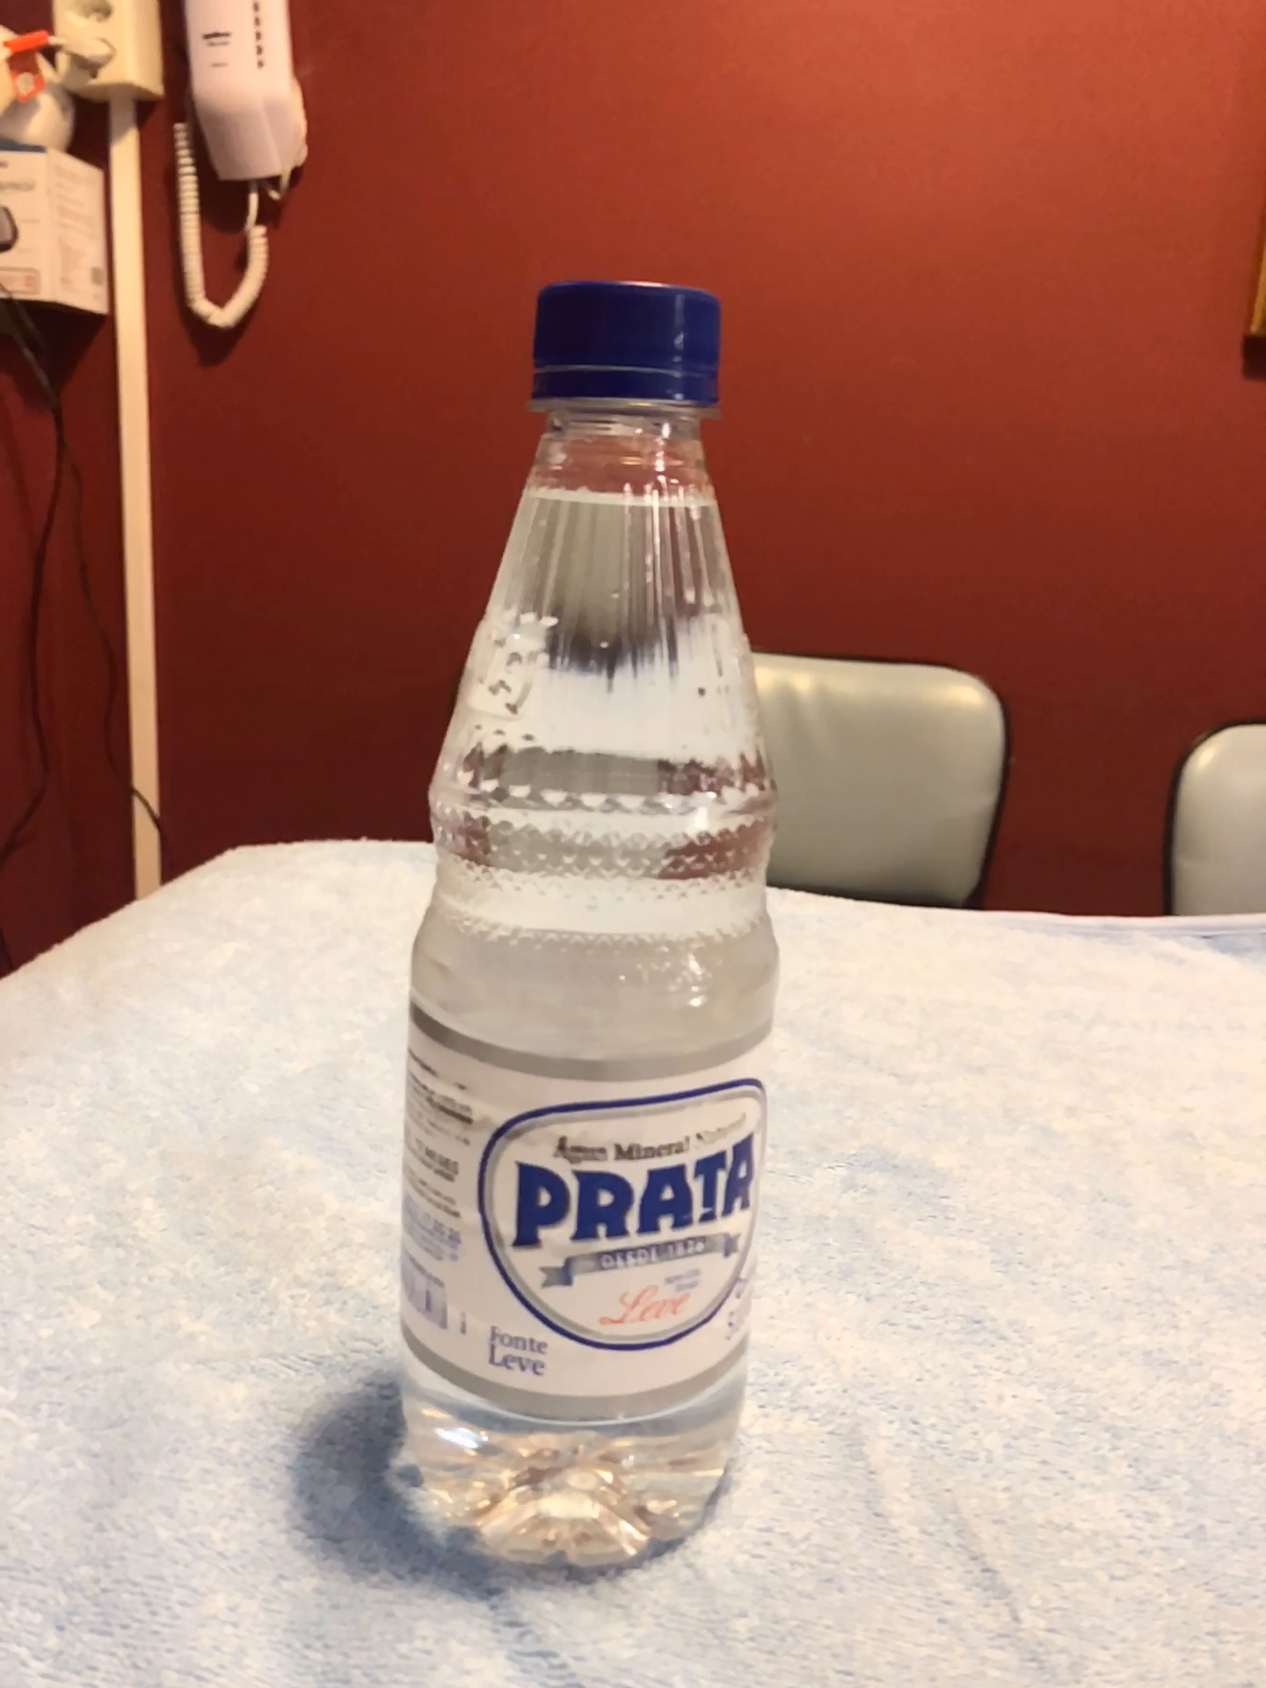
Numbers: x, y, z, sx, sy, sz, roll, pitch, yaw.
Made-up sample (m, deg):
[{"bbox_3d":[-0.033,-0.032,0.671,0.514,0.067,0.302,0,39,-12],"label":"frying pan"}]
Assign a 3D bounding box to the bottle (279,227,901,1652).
[{"bbox_3d":[-0.016,0.016,0.253,0.080,0.219,0.070,-3,15,-24],"label":"bottle"}]
